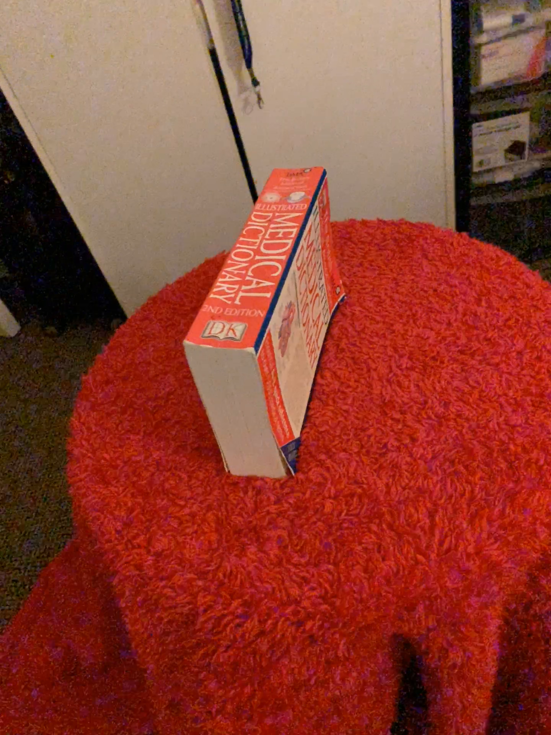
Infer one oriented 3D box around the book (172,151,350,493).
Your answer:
[{"bbox_3d":[0.007,-0.043,0.410,0.050,0.129,0.222,5,47,16],"label":"book"}]
